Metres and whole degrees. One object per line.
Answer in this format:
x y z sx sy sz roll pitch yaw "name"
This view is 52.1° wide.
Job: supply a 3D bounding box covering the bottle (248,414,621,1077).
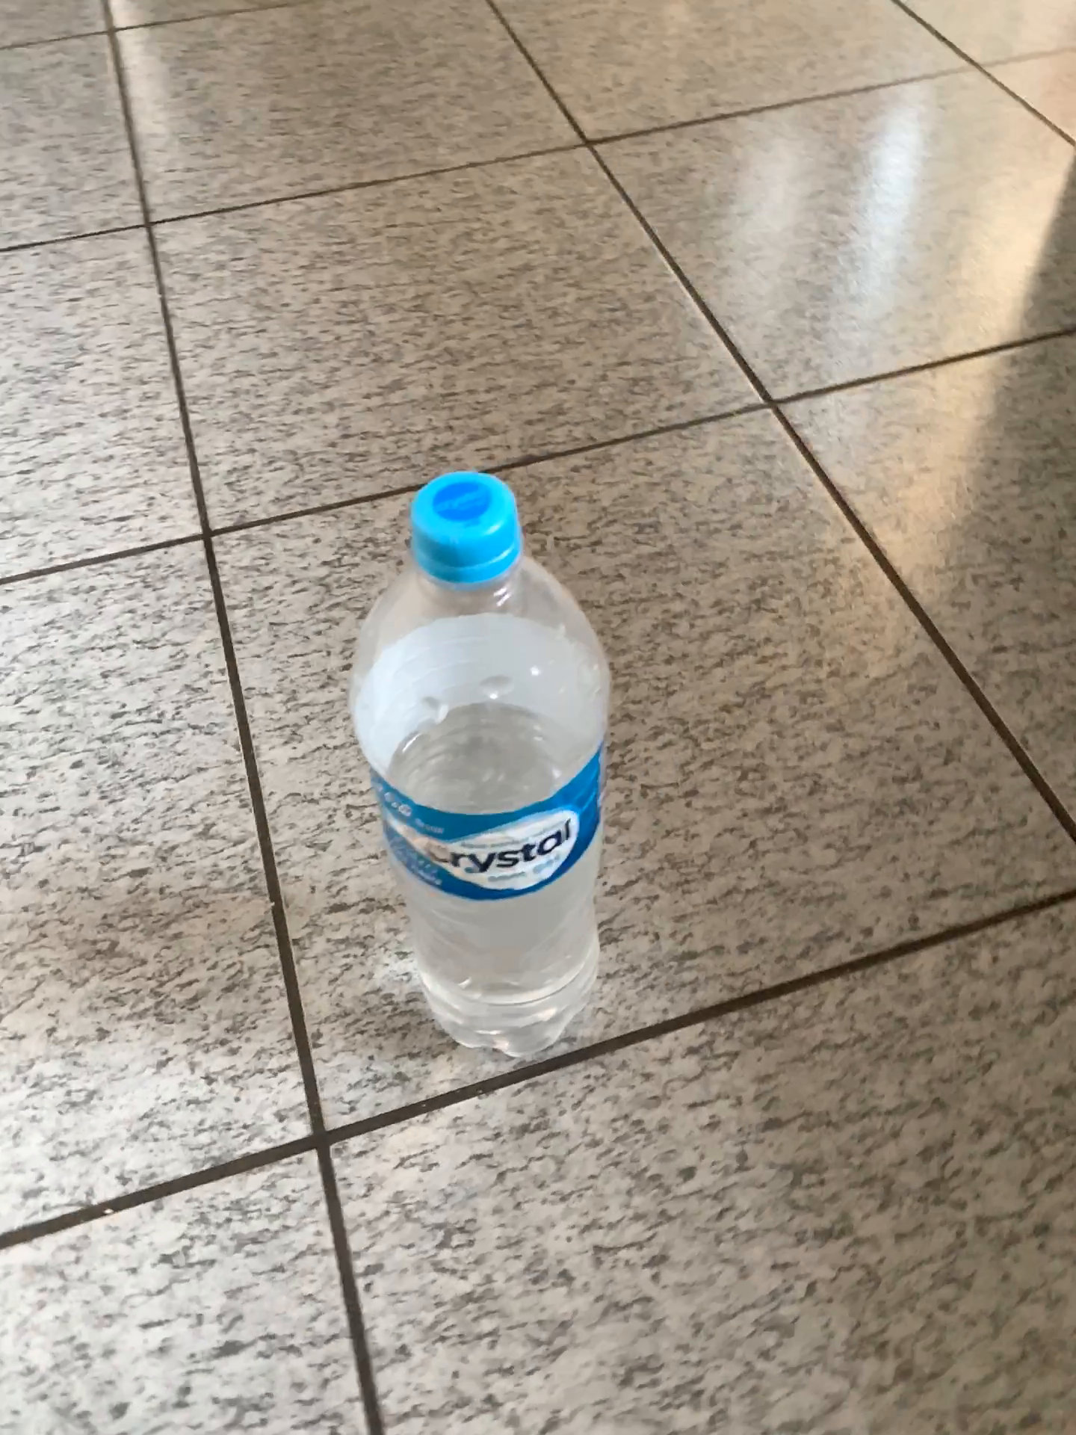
-0.020 0.039 0.411 0.090 0.299 0.090 -1 53 1 "bottle"
